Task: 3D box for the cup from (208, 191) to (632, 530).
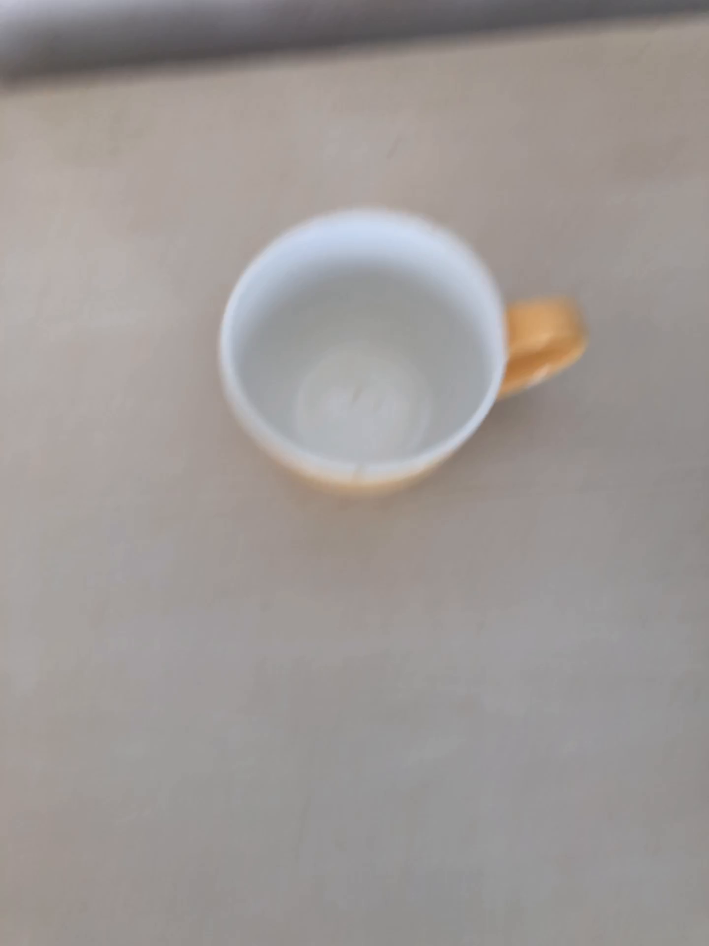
[{"bbox_3d":[0.020,-0.041,0.321,0.140,0.080,0.100,-5,74,-1],"label":"cup"}]
